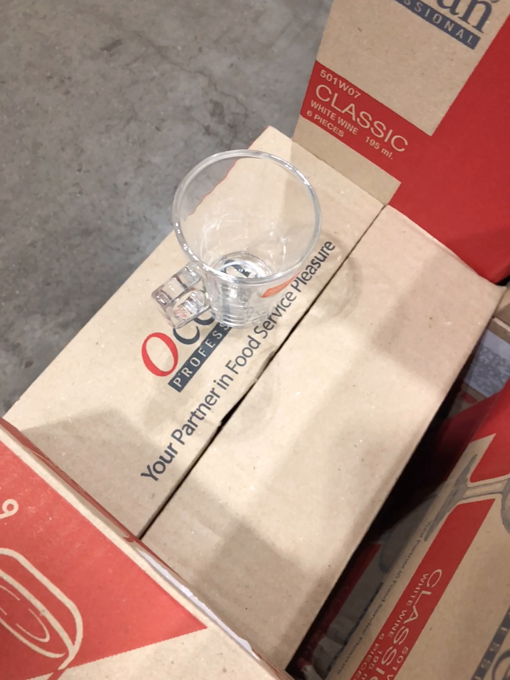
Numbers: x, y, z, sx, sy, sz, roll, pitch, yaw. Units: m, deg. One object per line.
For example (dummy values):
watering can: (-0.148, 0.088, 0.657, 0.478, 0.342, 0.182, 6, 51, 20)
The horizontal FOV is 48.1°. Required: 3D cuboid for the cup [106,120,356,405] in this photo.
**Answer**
cup: (-0.013, -0.027, 0.256, 0.070, 0.100, 0.060, -41, 80, -18)
